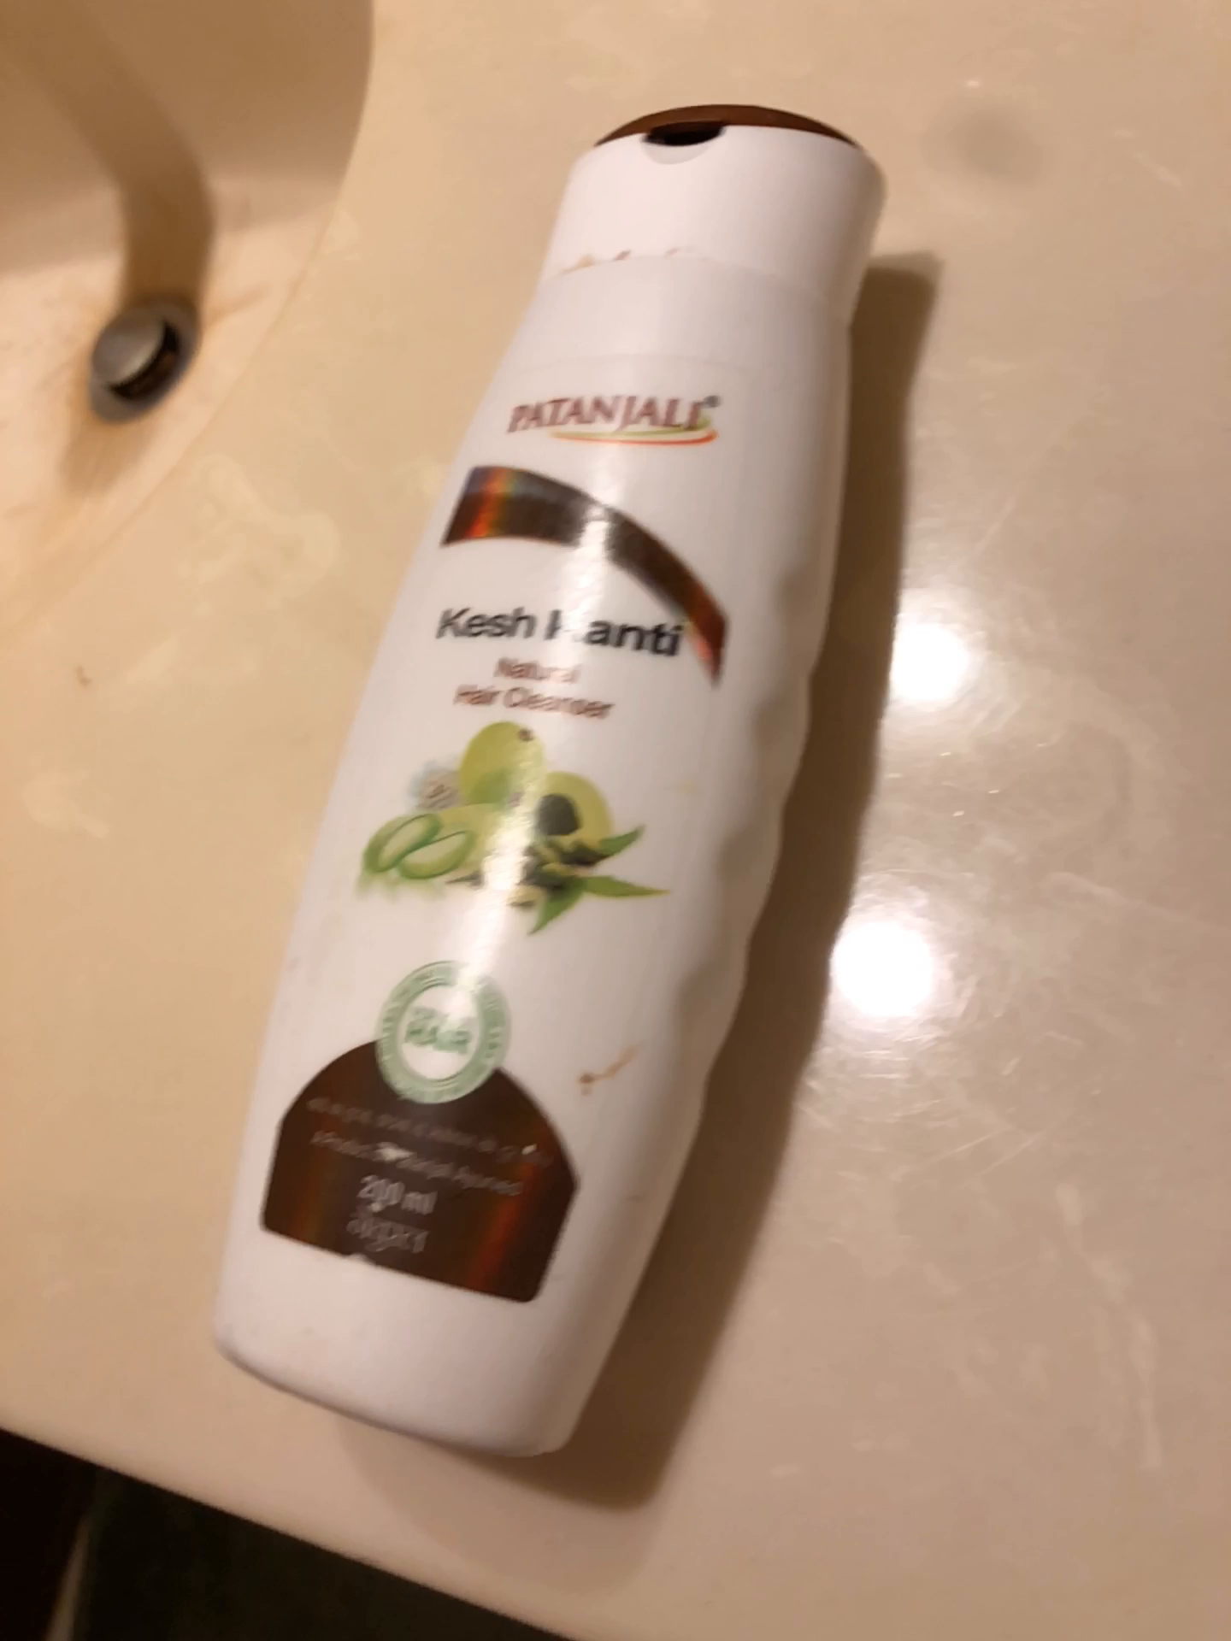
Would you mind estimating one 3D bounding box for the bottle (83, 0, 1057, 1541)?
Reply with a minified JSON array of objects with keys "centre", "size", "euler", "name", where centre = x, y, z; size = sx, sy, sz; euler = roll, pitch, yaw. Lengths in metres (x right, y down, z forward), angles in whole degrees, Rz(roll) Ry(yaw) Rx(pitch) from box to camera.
[{"centre":[0.001,-0.020,0.194],"size":[0.070,0.040,0.200],"euler":[10,75,29],"name":"bottle"}]
